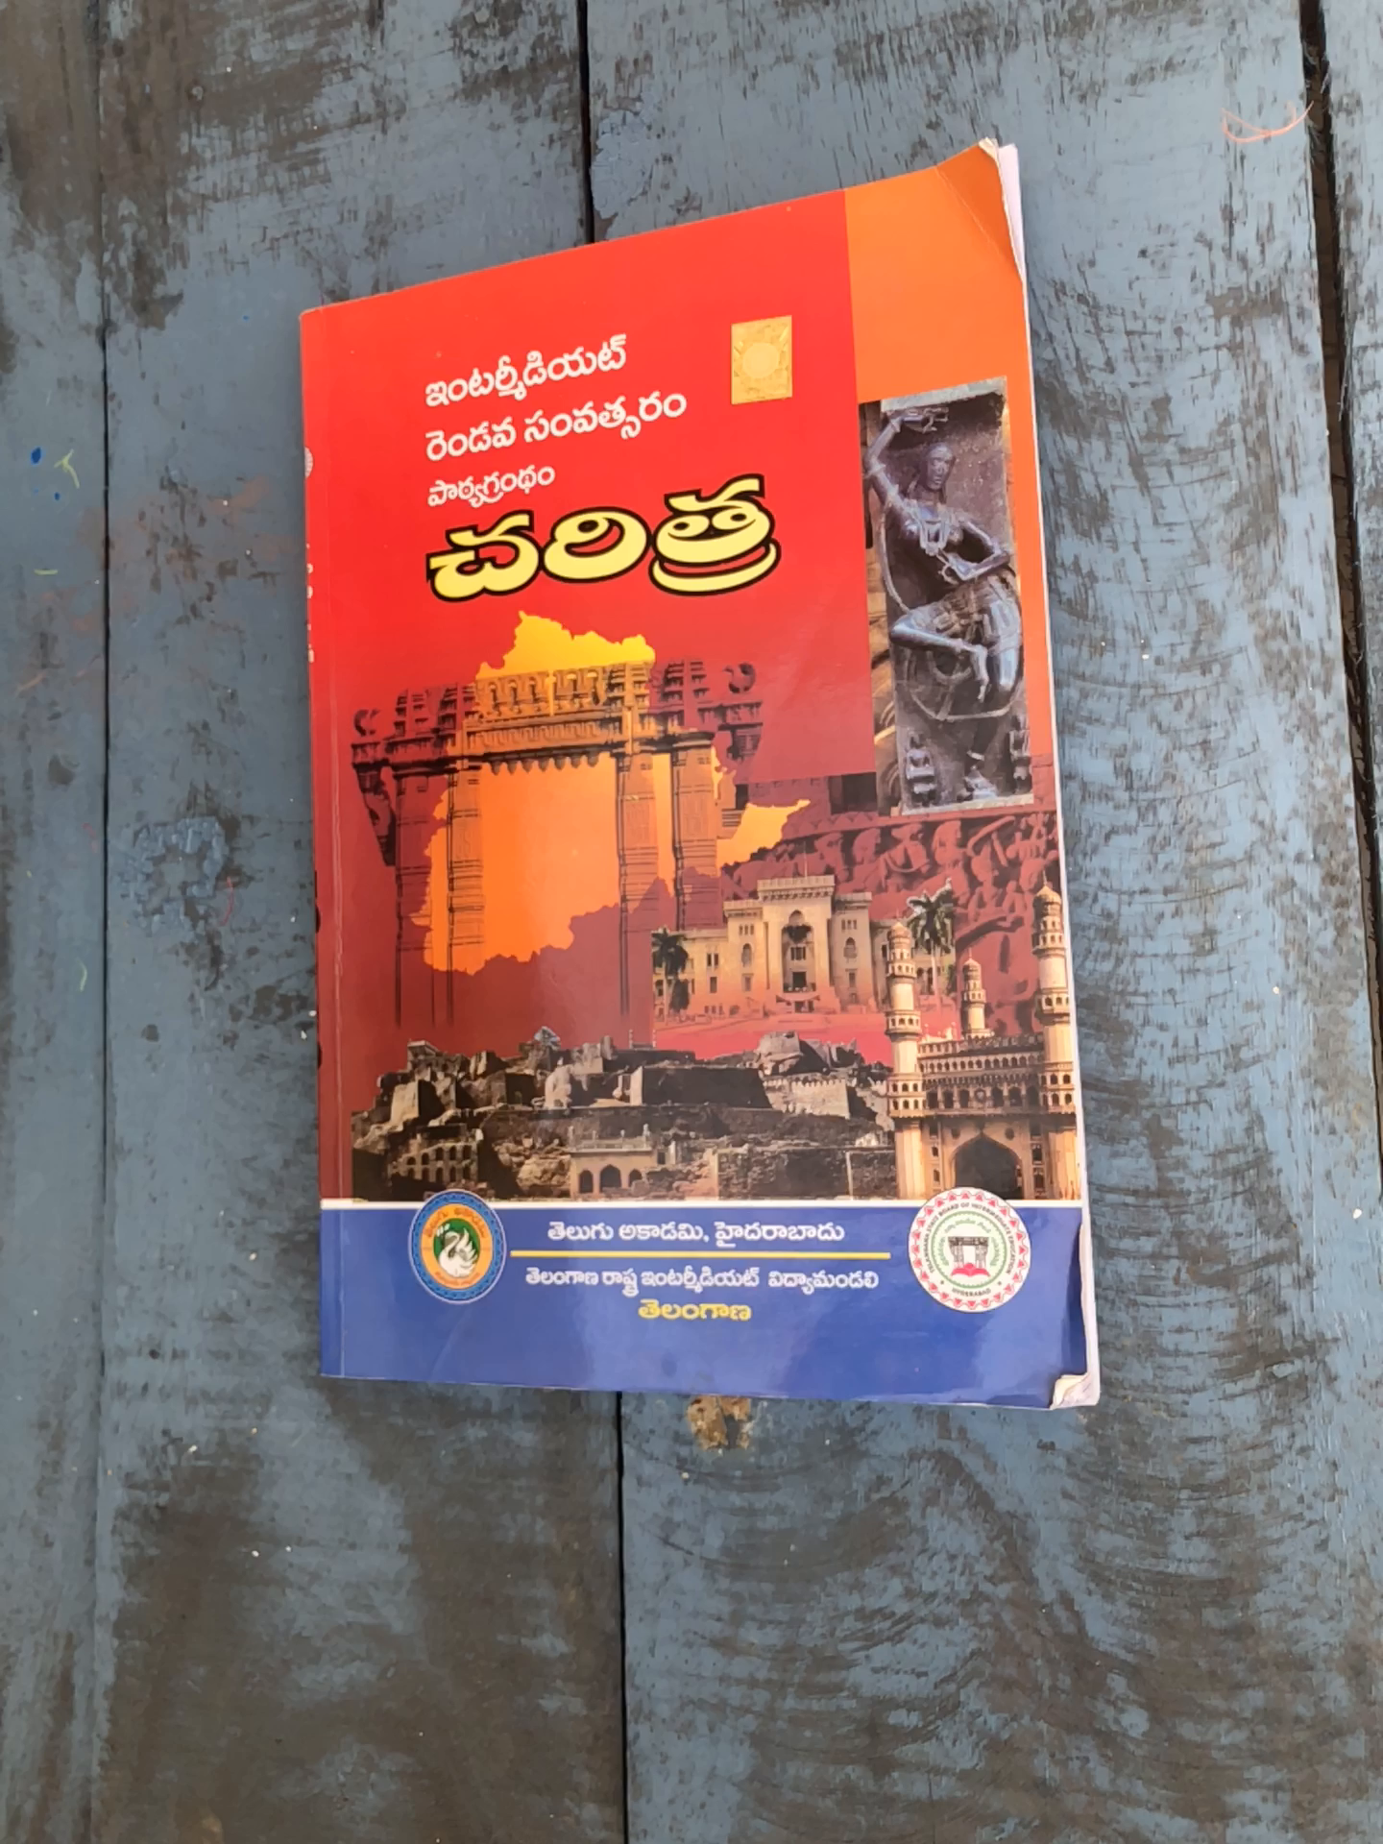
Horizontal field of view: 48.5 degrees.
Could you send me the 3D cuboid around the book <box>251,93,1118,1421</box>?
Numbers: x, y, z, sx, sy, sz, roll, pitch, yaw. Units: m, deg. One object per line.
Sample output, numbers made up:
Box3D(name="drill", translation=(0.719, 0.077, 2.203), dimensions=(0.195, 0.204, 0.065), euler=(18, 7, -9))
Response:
Box3D(name="book", translation=(-0.008, -0.032, 0.356), dimensions=(0.190, 0.040, 0.270), euler=(-3, 84, 18))
